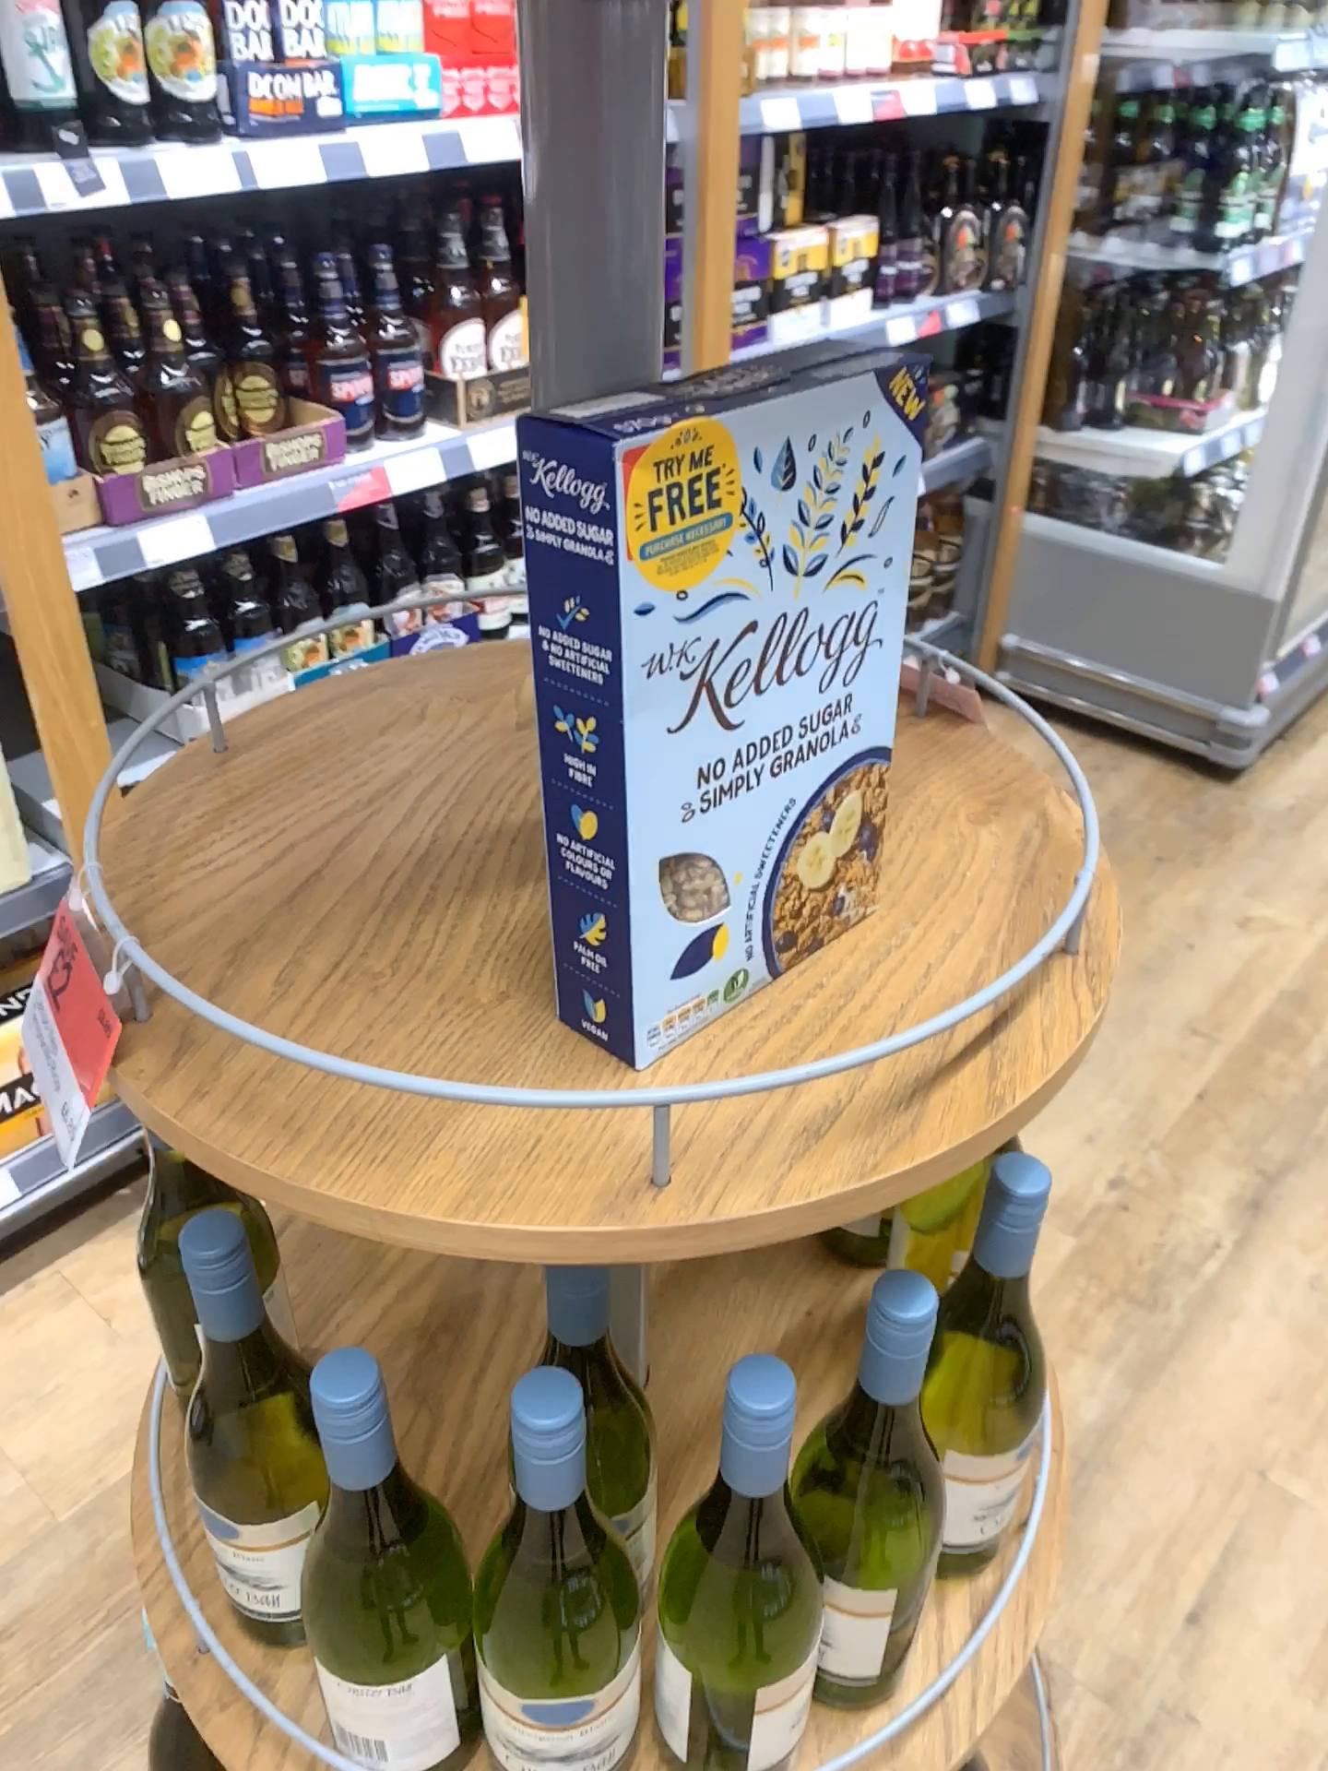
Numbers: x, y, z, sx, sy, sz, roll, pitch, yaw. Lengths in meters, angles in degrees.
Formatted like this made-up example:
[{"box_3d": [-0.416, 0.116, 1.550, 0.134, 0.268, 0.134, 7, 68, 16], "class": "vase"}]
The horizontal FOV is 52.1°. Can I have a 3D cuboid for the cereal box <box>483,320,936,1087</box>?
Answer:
[{"box_3d": [0.022, -0.070, 0.523, 0.050, 0.248, 0.171, 27, 42, 36], "class": "cereal box"}]
